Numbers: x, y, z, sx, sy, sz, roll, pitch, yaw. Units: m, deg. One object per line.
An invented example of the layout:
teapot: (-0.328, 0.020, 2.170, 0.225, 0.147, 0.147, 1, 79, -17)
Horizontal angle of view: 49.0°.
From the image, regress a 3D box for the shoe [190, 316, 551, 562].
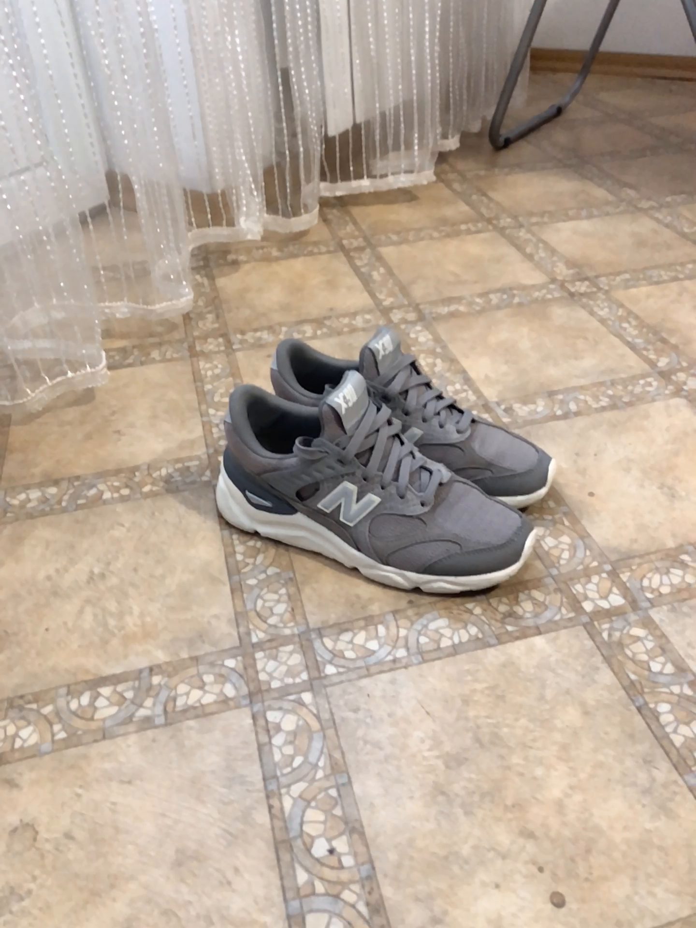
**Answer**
shoe: (0.018, -0.029, 0.644, 0.270, 0.119, 0.101, 13, 40, 21)

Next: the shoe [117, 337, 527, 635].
shoe: (-0.020, 0.006, 0.565, 0.270, 0.119, 0.101, 15, 40, 23)
